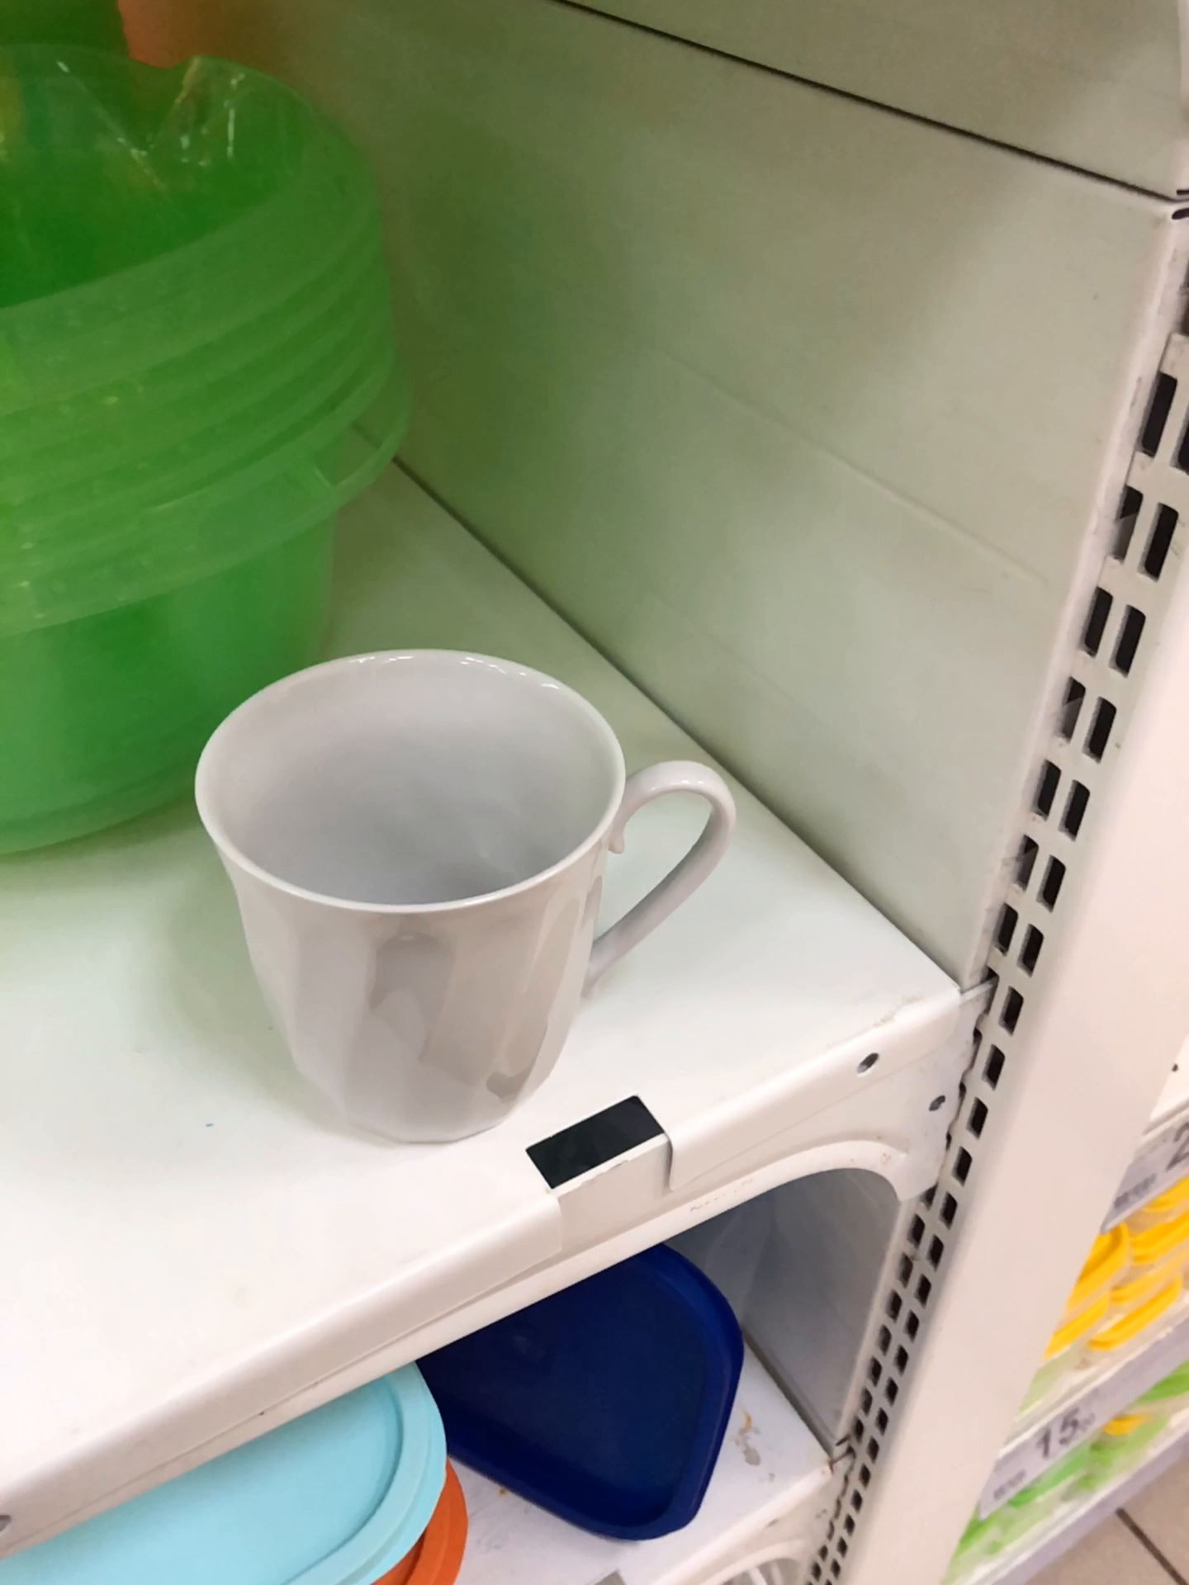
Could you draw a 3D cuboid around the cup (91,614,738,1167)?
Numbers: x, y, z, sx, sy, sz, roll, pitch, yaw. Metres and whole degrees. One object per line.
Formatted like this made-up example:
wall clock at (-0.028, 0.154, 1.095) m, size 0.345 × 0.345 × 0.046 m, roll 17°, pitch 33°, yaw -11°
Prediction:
cup at (-0.036, 0.020, 0.302) m, size 0.119 × 0.080 × 0.091 m, roll -3°, pitch 40°, yaw -4°
